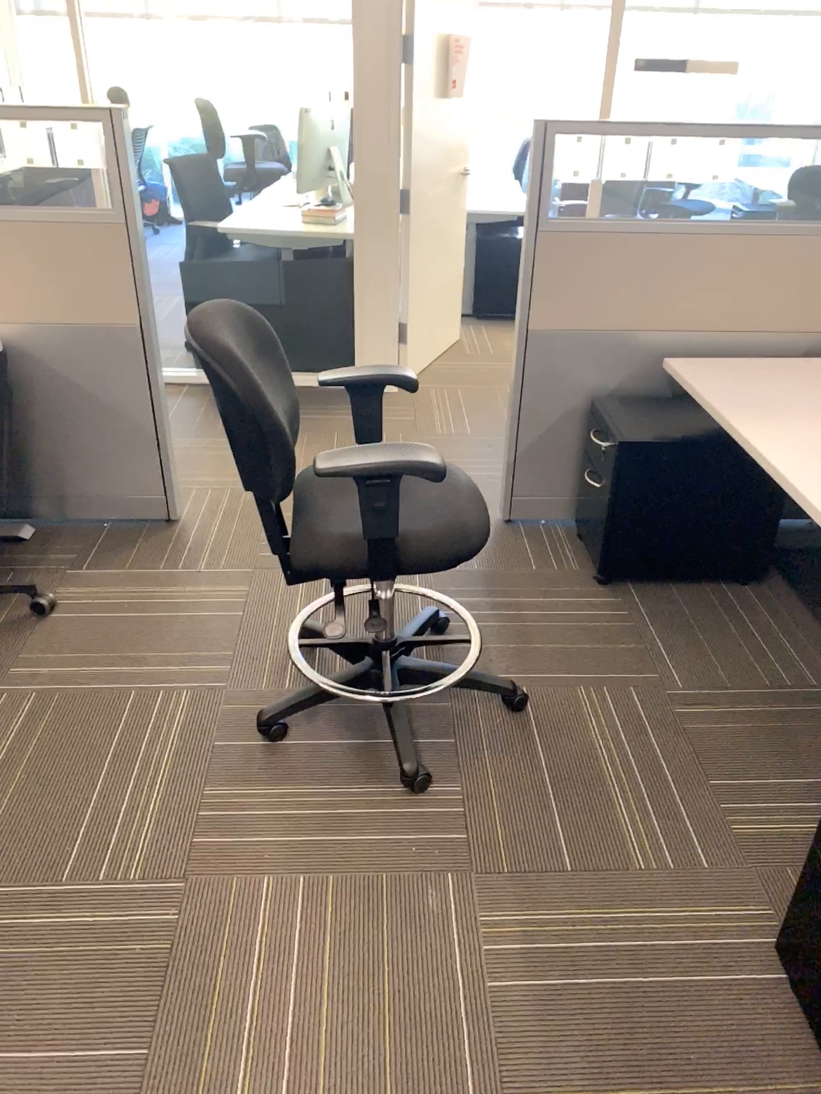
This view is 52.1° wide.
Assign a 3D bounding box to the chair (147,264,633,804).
[{"bbox_3d":[-0.069,-0.069,2.011,0.820,1.004,0.805,-1,30,-5],"label":"chair"}]
